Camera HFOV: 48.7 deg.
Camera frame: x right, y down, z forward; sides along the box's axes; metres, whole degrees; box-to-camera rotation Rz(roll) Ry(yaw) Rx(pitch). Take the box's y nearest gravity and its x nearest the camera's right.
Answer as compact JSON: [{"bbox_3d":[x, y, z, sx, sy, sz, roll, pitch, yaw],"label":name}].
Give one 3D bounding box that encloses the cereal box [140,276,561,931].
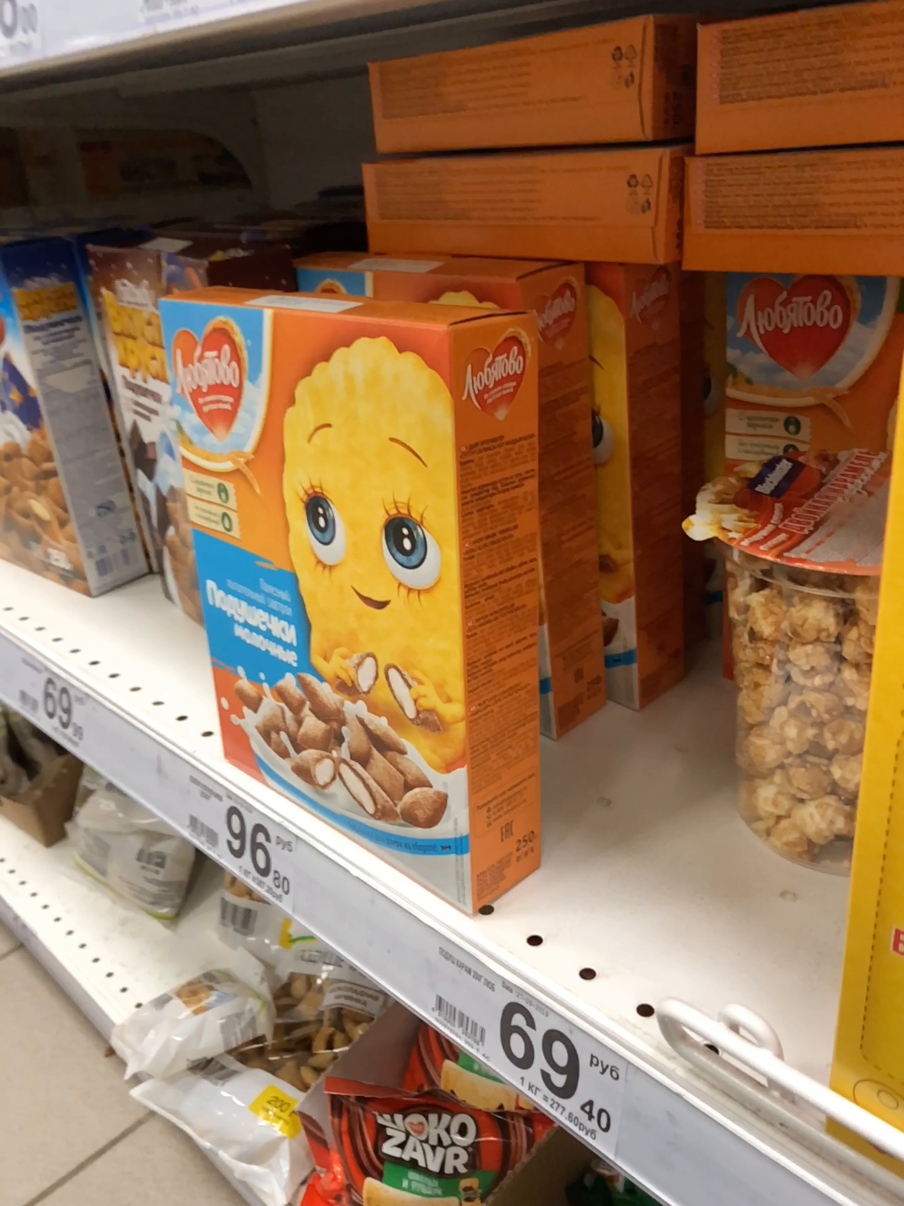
[{"bbox_3d":[-0.042,-0.009,0.414,0.181,0.229,0.050,19,32,41],"label":"cereal box"}]
